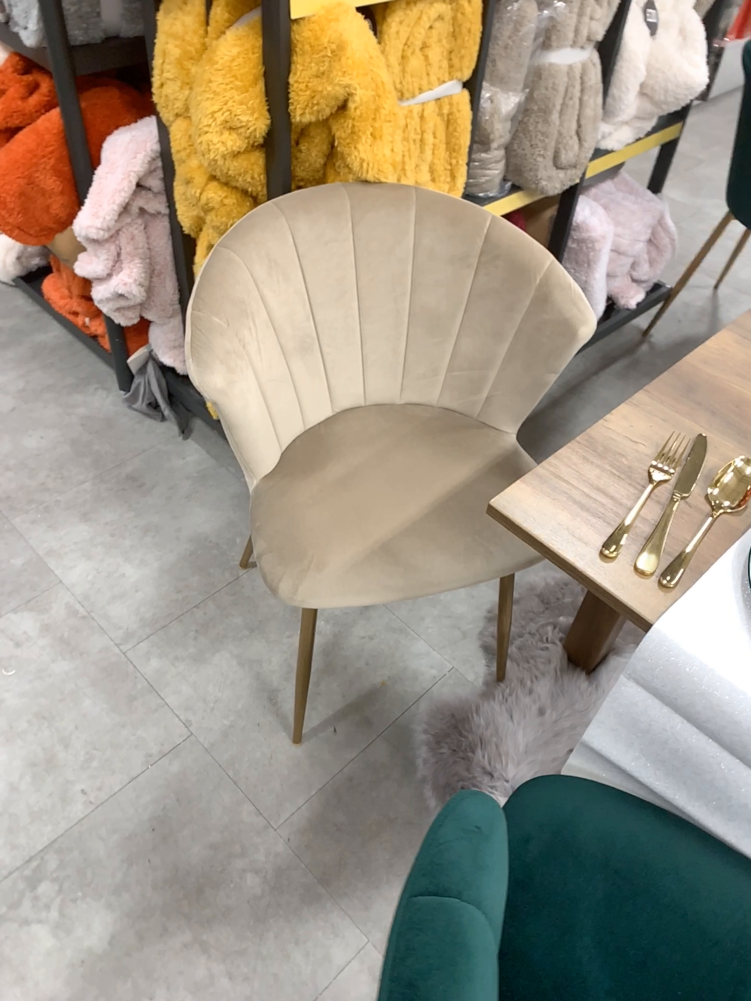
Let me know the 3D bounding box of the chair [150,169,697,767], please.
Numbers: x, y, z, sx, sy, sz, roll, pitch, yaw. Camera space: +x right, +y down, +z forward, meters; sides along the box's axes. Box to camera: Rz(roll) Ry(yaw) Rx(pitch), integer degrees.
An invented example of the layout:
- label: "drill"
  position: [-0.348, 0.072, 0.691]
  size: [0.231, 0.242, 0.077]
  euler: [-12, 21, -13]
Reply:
- label: "chair"
  position: [0.000, -0.048, 1.253]
  size: [0.560, 0.722, 0.539]
  euler: [-10, 48, -15]
